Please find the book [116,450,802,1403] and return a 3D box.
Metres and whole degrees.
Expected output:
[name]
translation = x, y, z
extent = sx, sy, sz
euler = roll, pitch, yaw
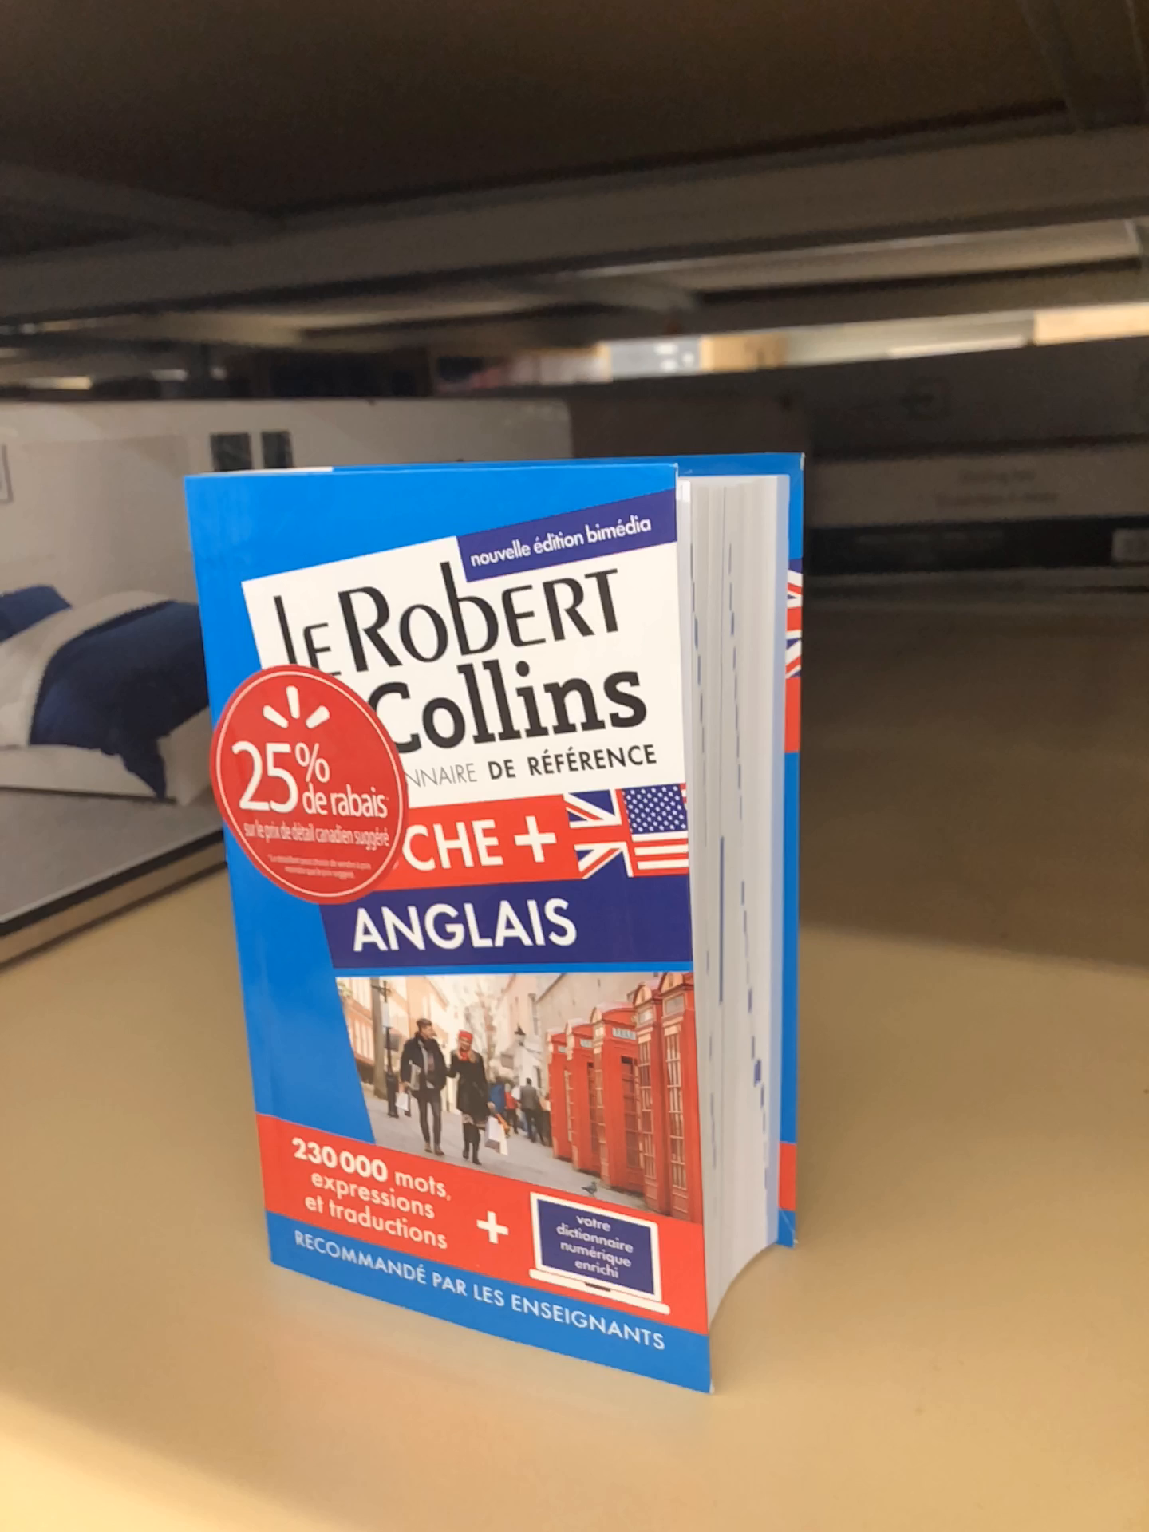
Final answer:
[book]
translation = -0.019, 0.025, 0.272
extent = 0.121, 0.173, 0.059
euler = 5, 17, 26
